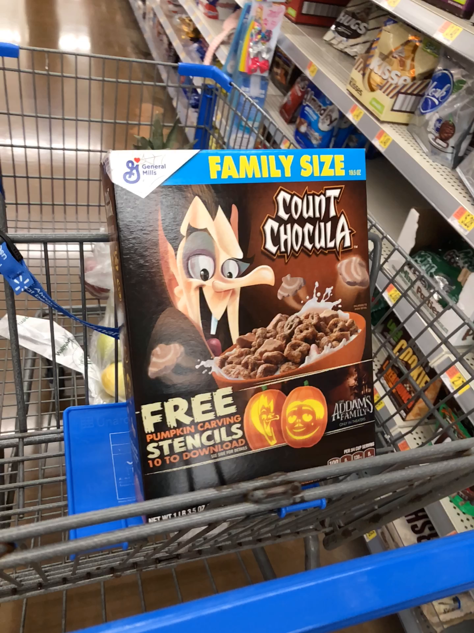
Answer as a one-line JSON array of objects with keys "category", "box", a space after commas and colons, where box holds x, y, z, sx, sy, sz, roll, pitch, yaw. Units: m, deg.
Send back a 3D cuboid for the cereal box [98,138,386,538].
[{"category": "cereal box", "box": [0.014, 0.008, 0.507, 0.250, 0.330, 0.080, -7, 9, -22]}]
